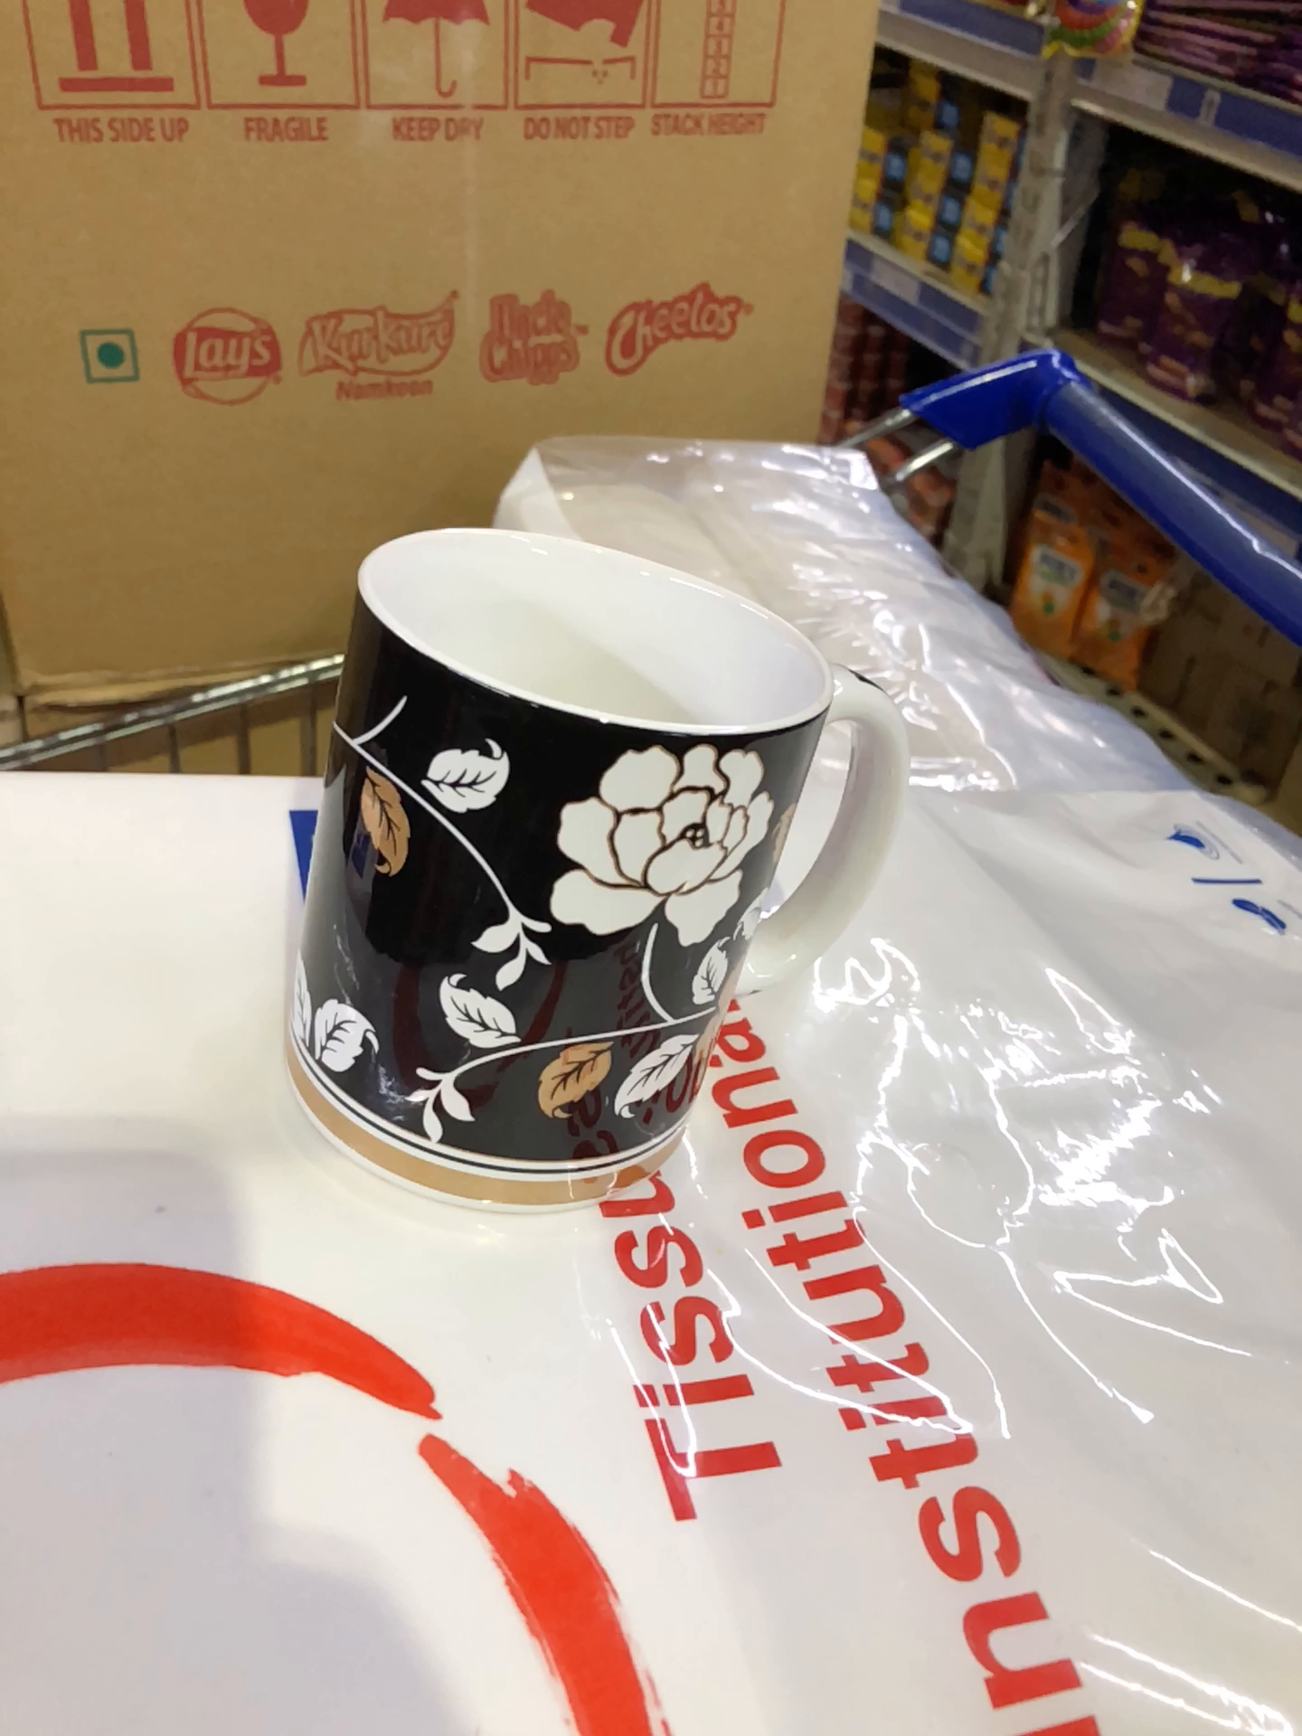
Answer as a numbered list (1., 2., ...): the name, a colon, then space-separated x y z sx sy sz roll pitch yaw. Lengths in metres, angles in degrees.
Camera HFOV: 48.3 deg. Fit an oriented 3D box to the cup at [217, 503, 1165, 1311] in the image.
1. cup: 0.004 0.000 0.267 0.130 0.099 0.080 -6 38 -37
